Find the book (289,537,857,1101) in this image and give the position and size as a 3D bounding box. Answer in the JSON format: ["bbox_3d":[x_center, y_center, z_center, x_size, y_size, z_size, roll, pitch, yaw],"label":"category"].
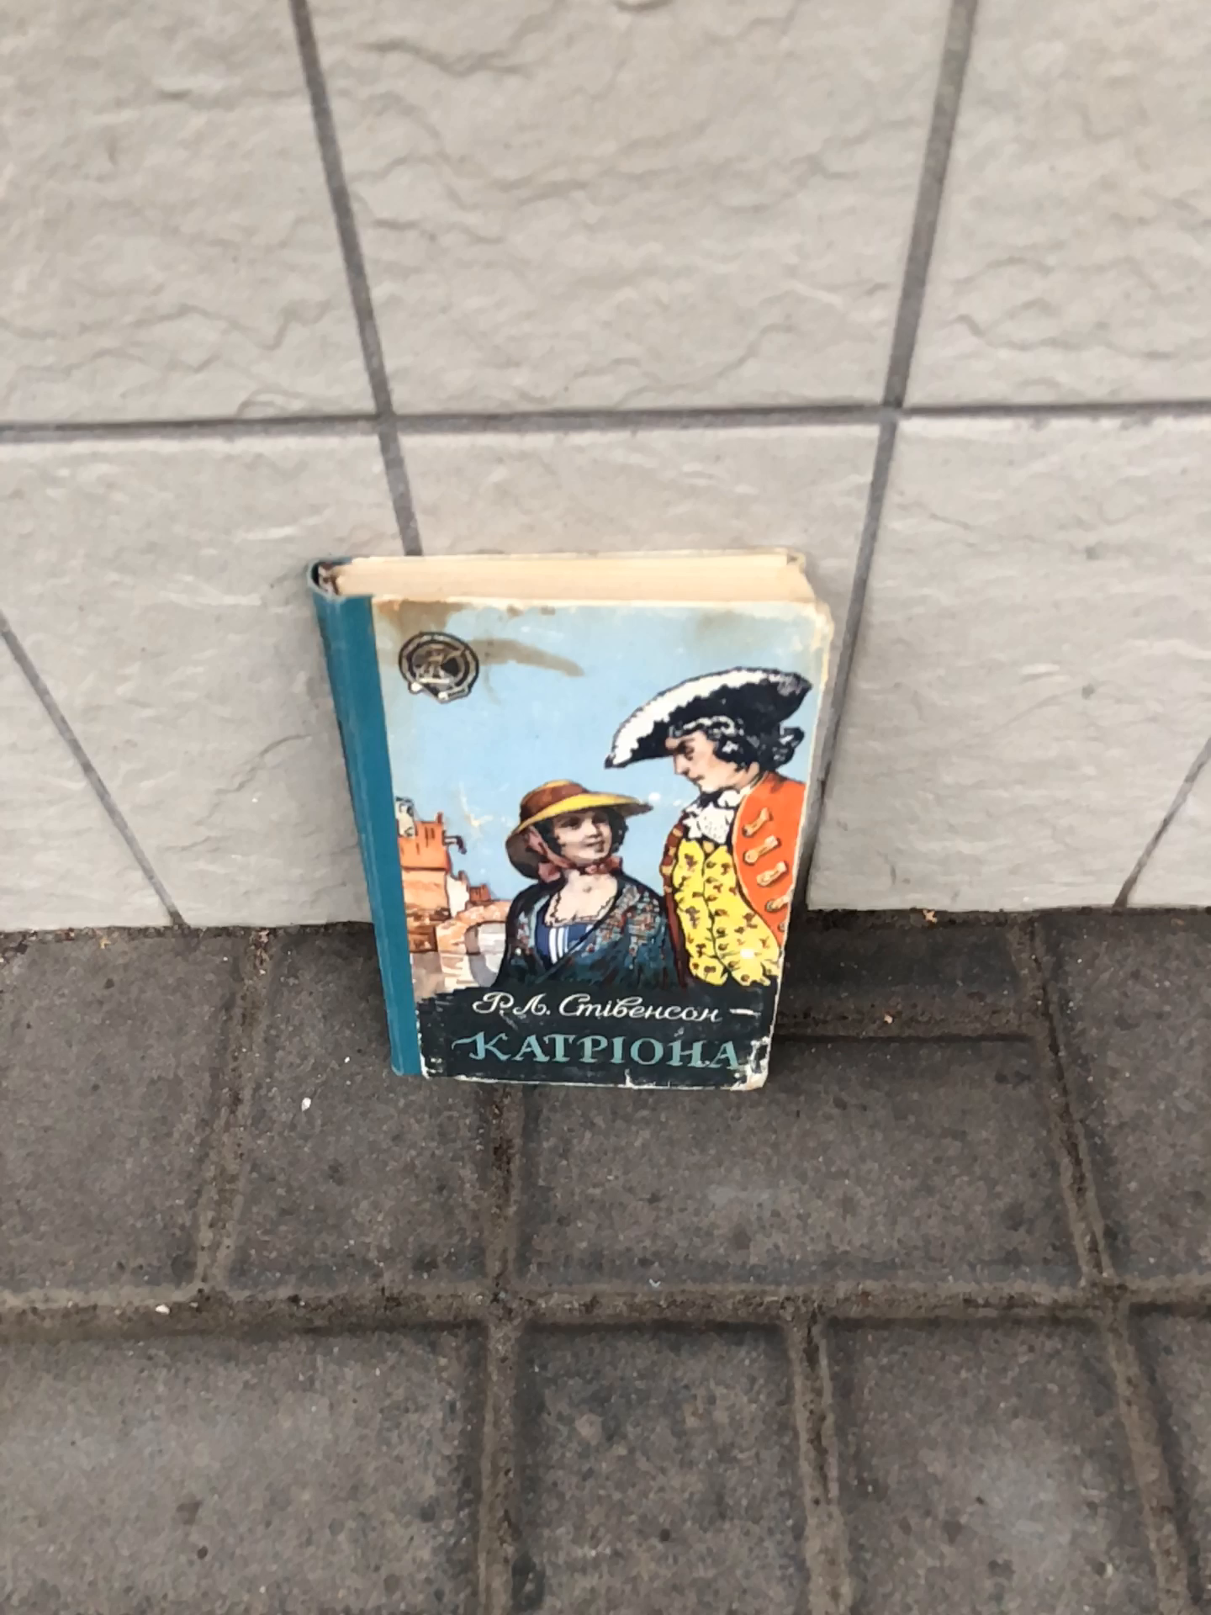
[{"bbox_3d":[-0.006,0.014,0.387,0.134,0.189,0.030,2,42,3],"label":"book"}]
